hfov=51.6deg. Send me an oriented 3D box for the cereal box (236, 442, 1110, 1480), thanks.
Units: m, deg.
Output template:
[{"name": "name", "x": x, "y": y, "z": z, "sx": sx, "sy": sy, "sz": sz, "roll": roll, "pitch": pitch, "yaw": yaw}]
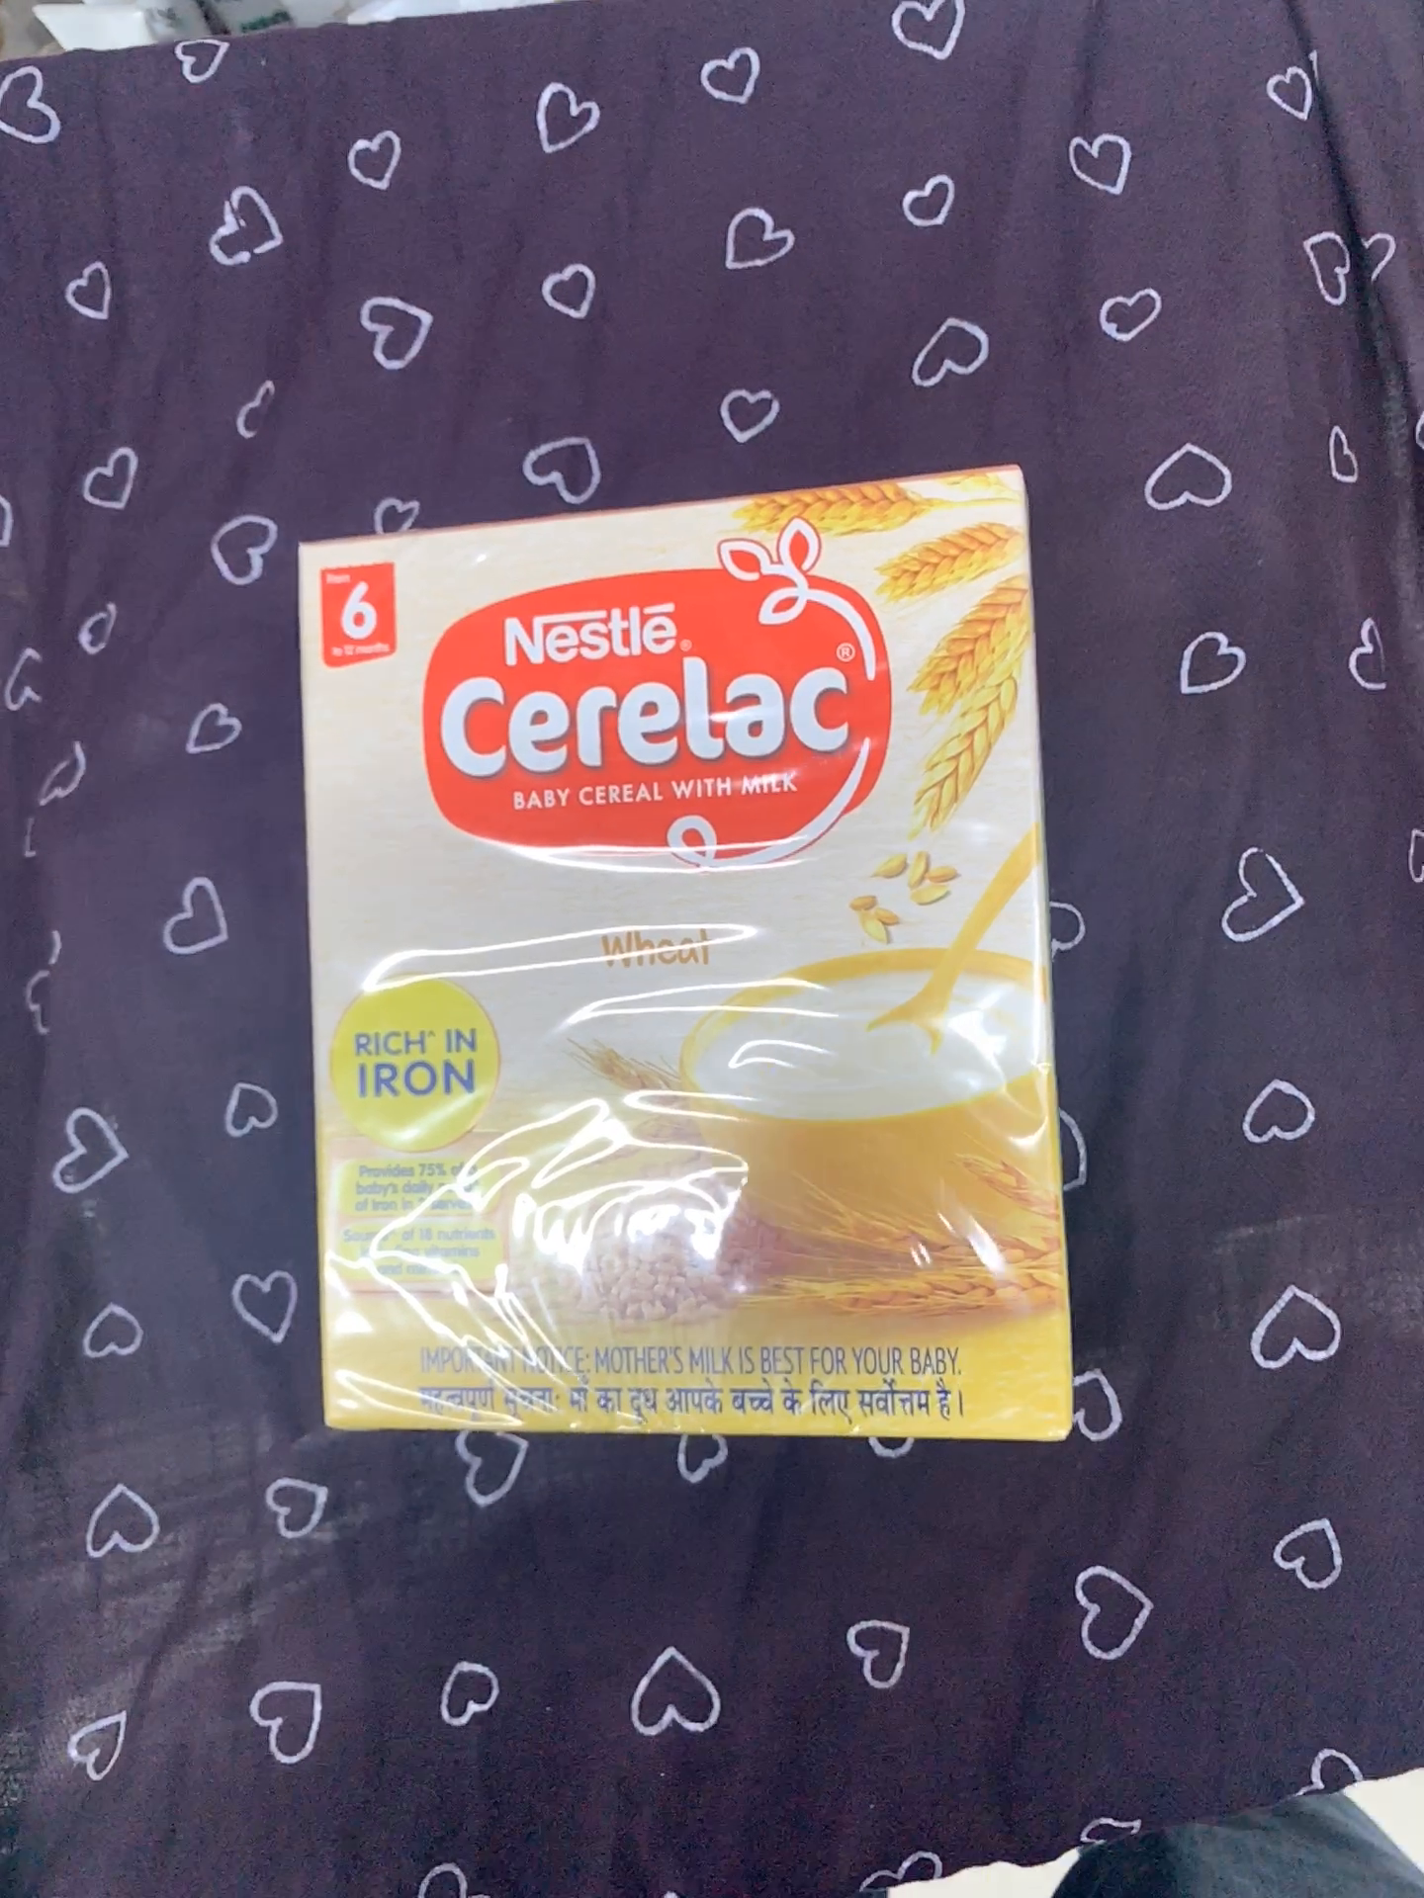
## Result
[{"name": "cereal box", "x": -0.007, "y": 0.005, "z": 0.260, "sx": 0.140, "sy": 0.040, "sz": 0.160, "roll": -3, "pitch": 88, "yaw": 11}]
